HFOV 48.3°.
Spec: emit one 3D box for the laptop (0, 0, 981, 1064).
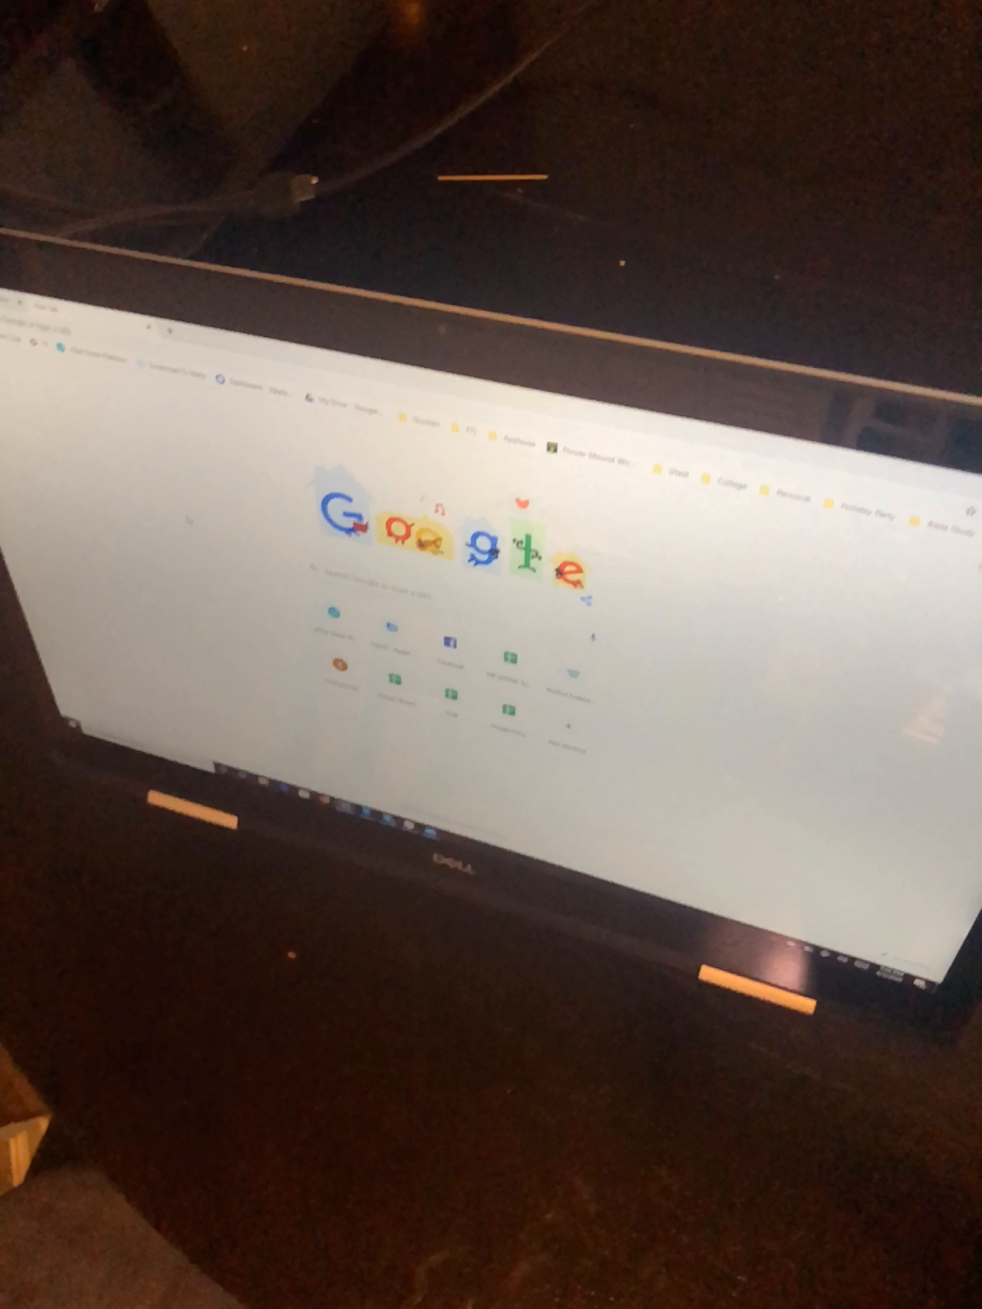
[{"bbox_3d":[0.008,-0.065,0.398,0.419,0.233,0.267,15,78,16],"label":"laptop"}]
